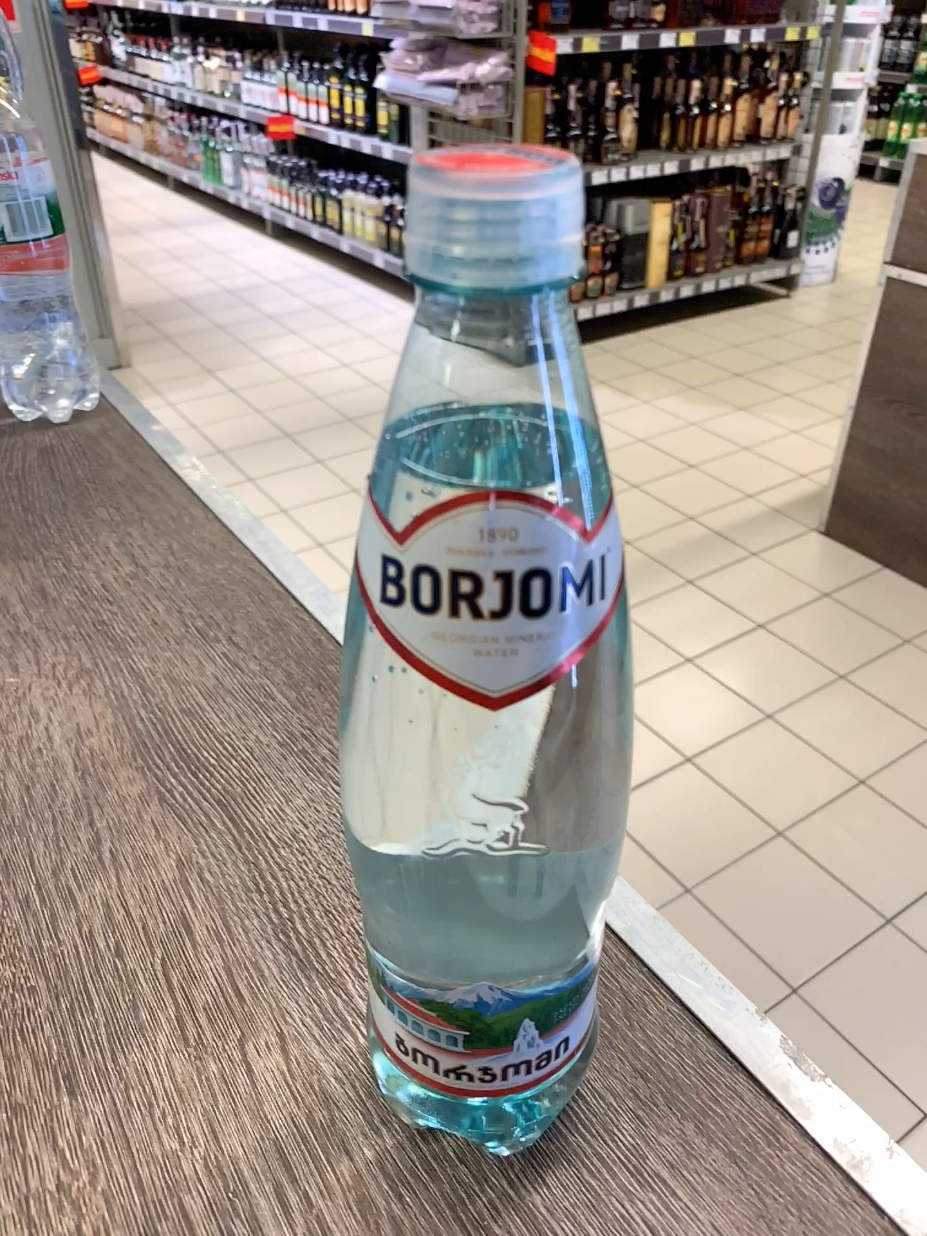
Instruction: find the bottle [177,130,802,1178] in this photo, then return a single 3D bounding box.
[{"bbox_3d":[0.006,0.027,0.218,0.080,0.239,0.070,3,34,5],"label":"bottle"}]
